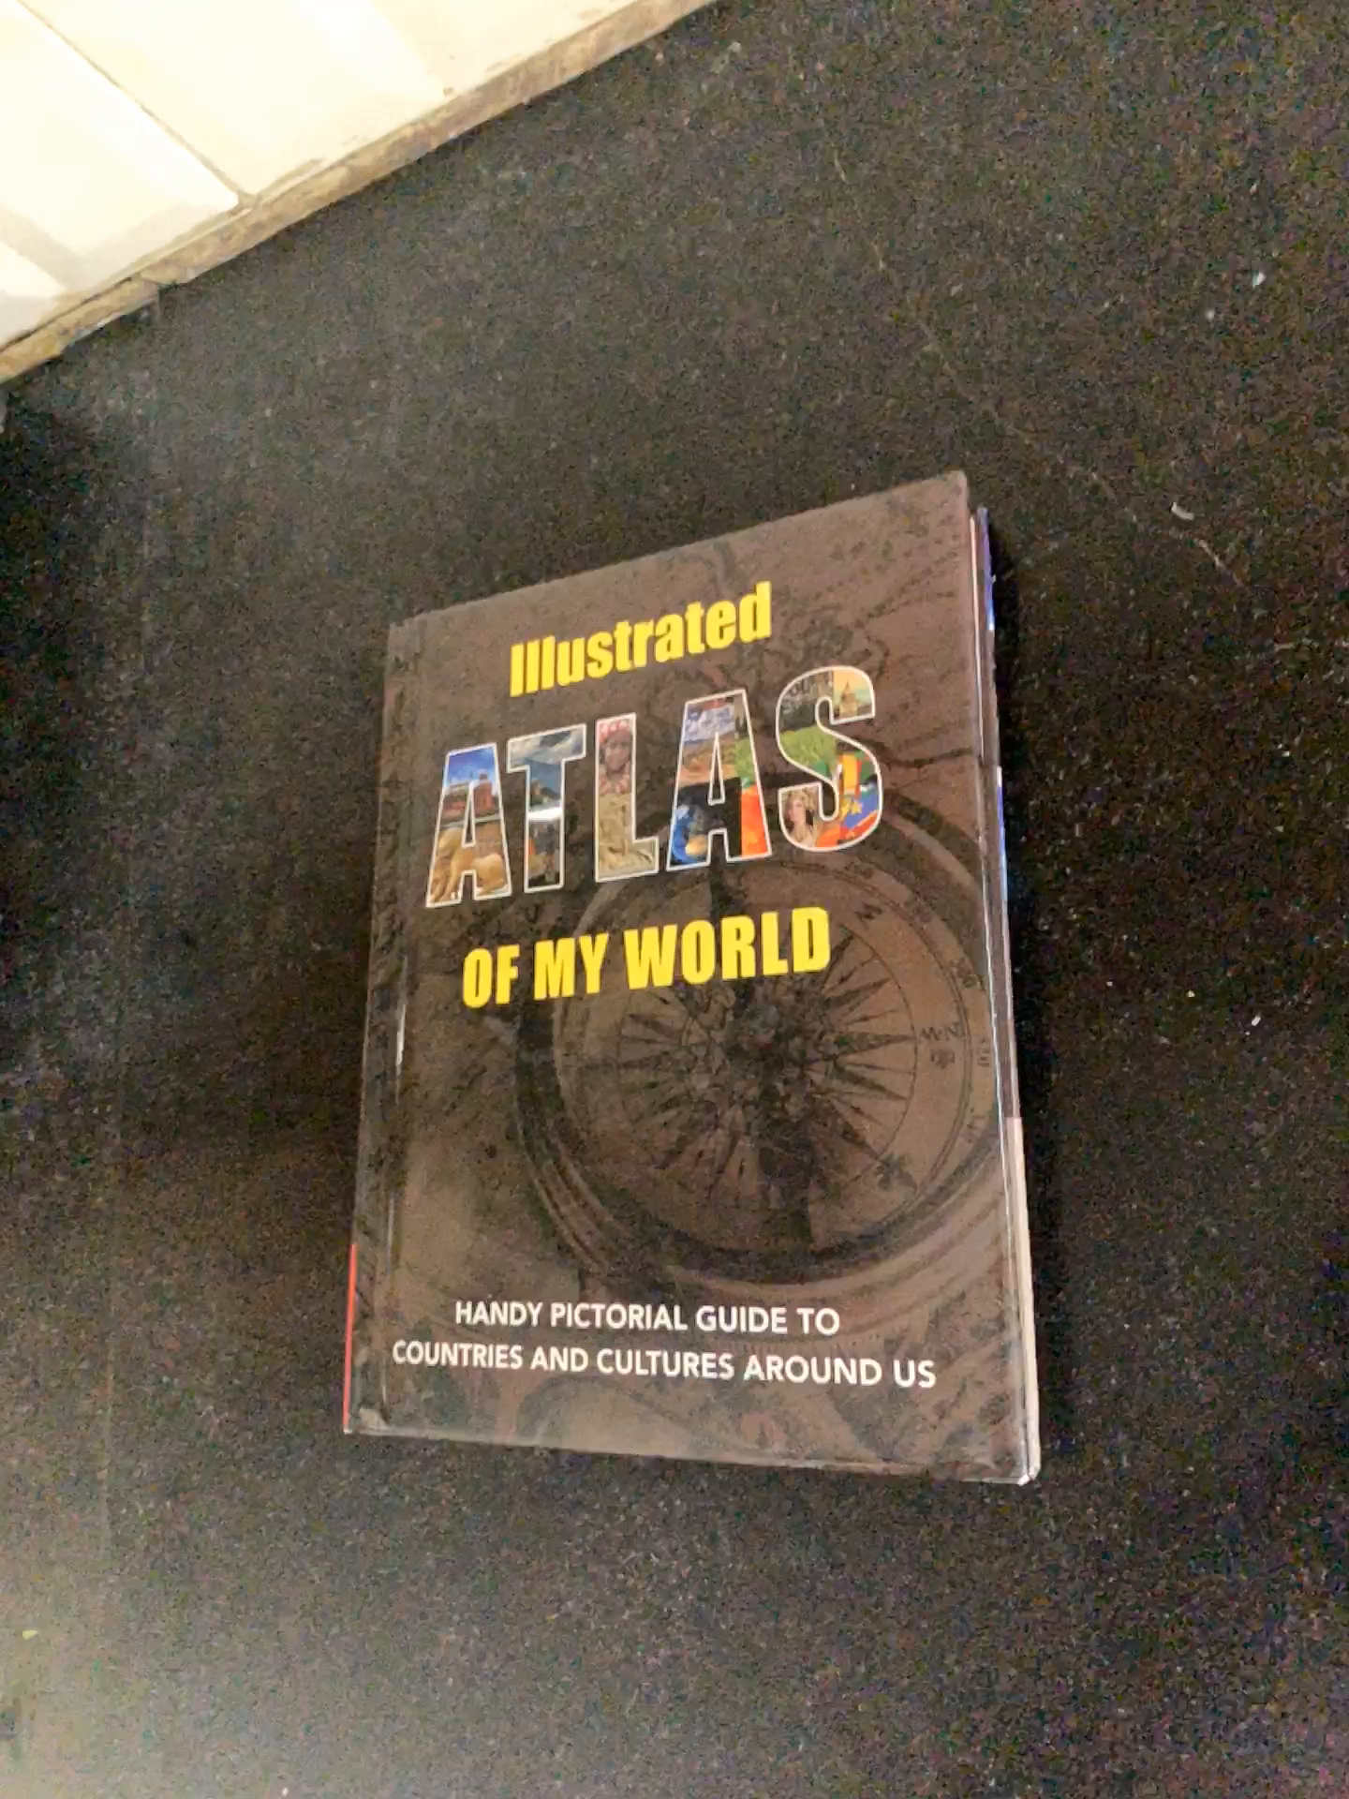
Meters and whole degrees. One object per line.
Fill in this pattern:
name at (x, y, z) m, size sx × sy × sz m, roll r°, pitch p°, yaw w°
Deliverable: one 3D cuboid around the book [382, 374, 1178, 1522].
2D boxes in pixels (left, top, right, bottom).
book at (0.017, 0.014, 0.384) m, size 0.200 × 0.040 × 0.271 m, roll -8°, pitch 73°, yaw 28°
